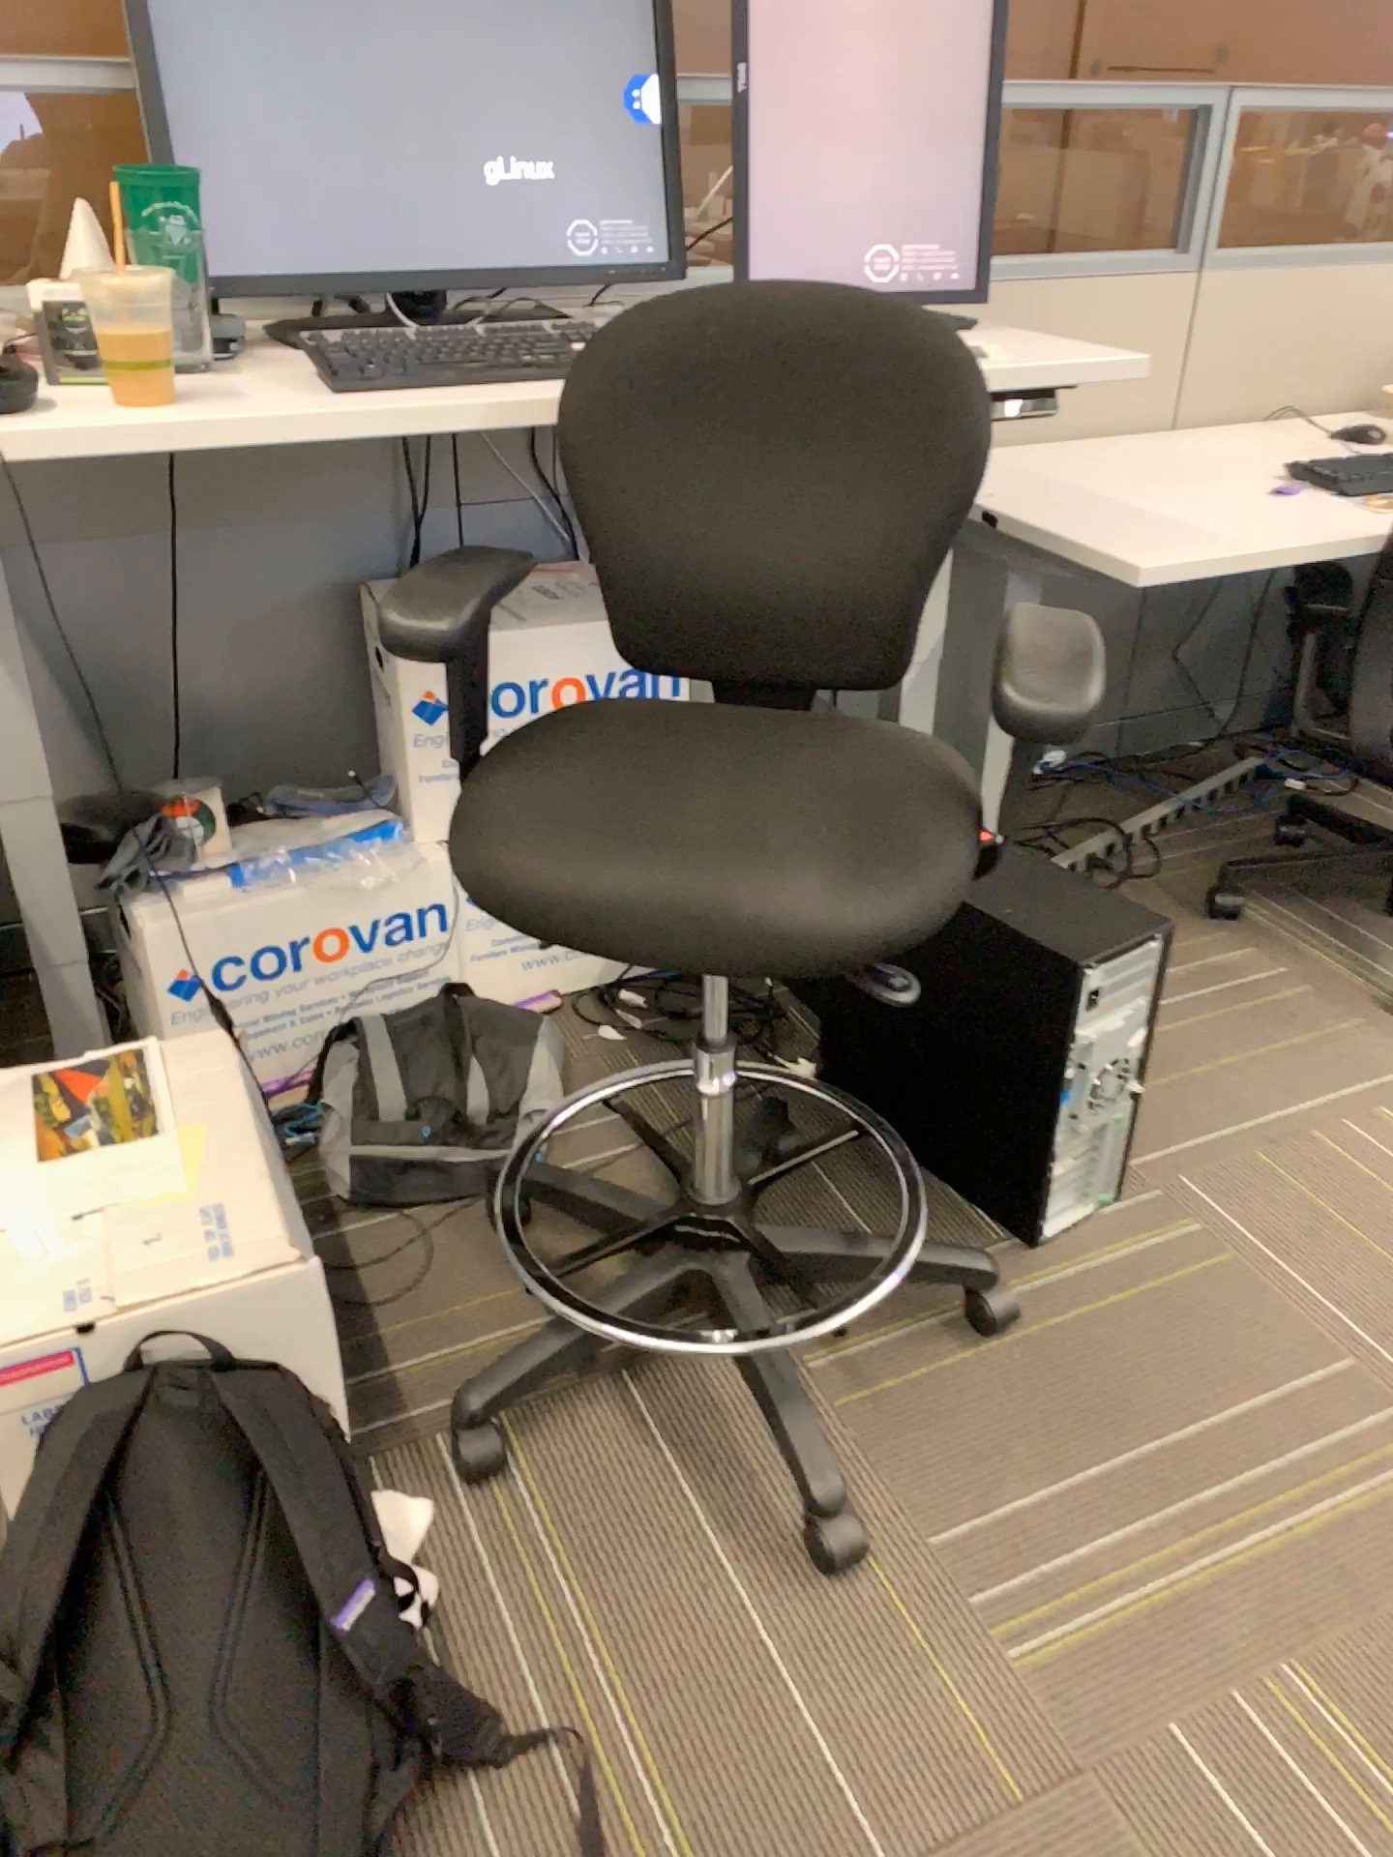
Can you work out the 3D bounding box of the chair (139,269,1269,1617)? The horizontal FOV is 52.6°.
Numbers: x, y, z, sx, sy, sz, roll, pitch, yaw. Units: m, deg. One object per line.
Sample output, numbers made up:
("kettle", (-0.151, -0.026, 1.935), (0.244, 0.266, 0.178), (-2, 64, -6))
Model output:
("chair", (0.046, -0.041, 1.473), (0.710, 1.103, 0.774), (5, 30, 9))
